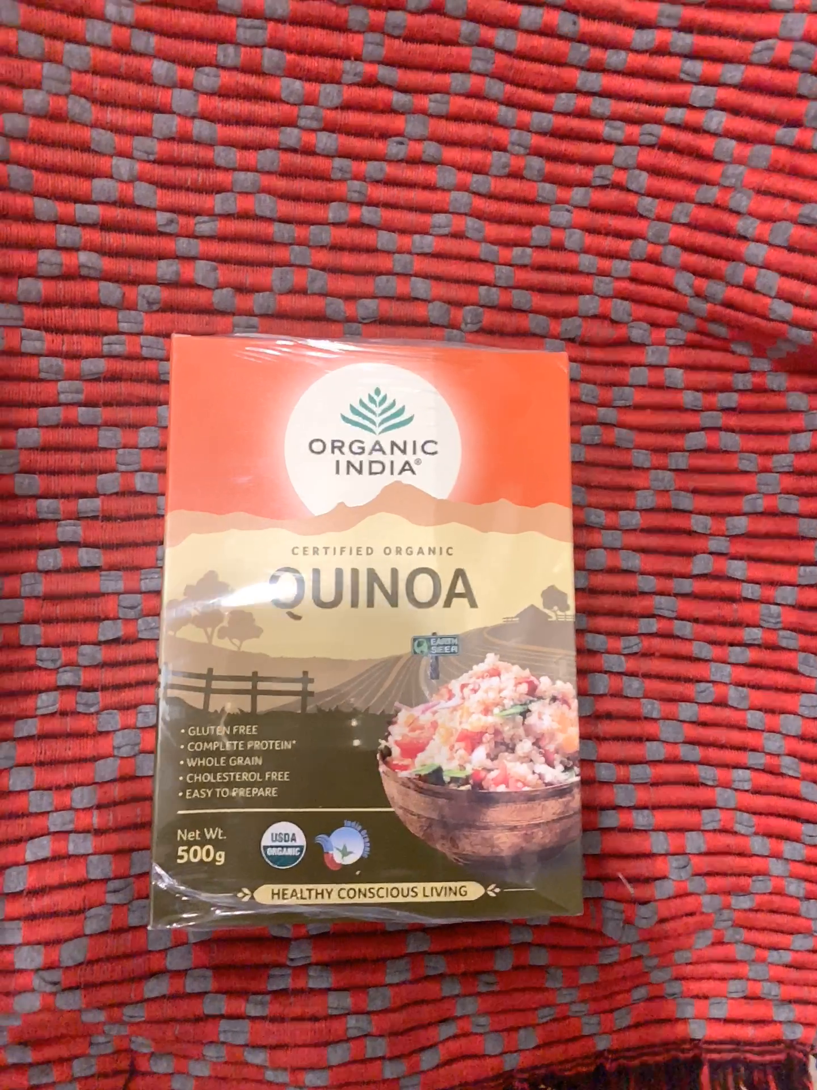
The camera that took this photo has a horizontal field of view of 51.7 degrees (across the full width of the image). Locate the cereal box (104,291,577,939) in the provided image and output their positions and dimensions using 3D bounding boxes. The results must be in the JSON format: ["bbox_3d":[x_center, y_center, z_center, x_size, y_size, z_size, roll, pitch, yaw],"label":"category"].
[{"bbox_3d":[-0.020,0.021,0.277,0.130,0.070,0.180,1,84,-7],"label":"cereal box"}]
